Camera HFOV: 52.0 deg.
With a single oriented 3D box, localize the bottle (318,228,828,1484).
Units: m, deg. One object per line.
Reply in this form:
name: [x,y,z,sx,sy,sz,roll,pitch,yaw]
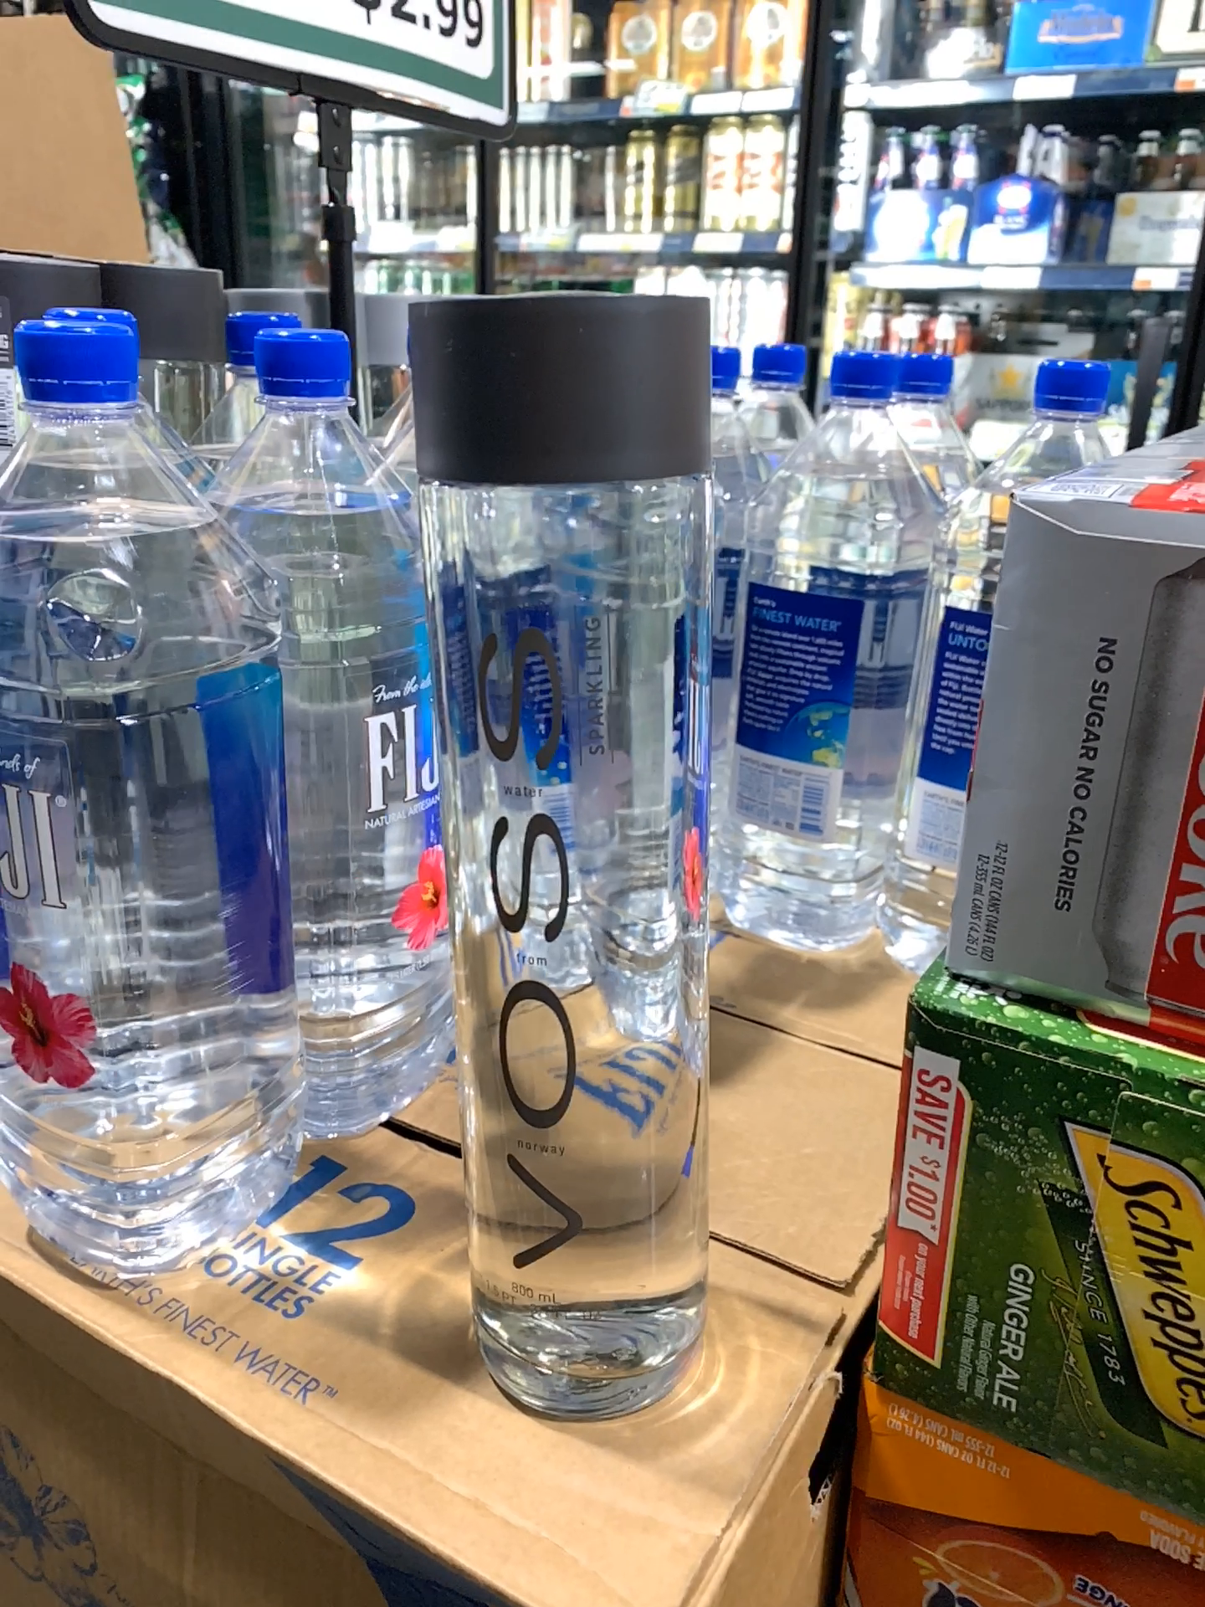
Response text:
bottle: [-0.004,0.017,0.313,0.080,0.289,0.080,1,20,0]
